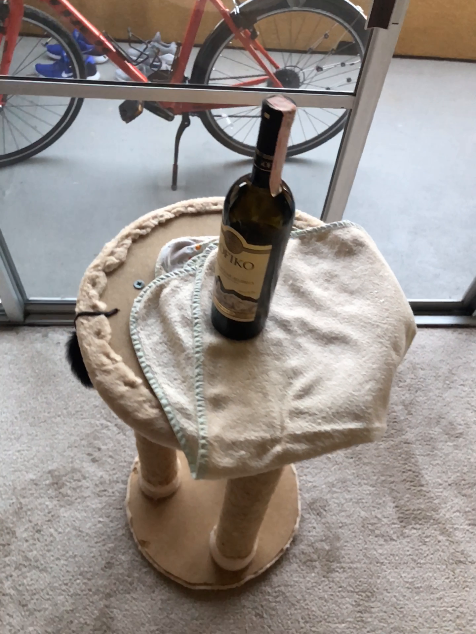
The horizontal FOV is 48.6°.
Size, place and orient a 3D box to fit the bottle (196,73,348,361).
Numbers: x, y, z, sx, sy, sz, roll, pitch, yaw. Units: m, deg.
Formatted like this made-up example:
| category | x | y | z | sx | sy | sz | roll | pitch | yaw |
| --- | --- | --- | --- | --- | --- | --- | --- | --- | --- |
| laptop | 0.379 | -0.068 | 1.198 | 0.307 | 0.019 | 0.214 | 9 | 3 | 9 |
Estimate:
| category | x | y | z | sx | sy | sz | roll | pitch | yaw |
| --- | --- | --- | --- | --- | --- | --- | --- | --- | --- |
| bottle | 0.018 | -0.078 | 0.511 | 0.080 | 0.269 | 0.080 | 3 | 52 | -4 |
